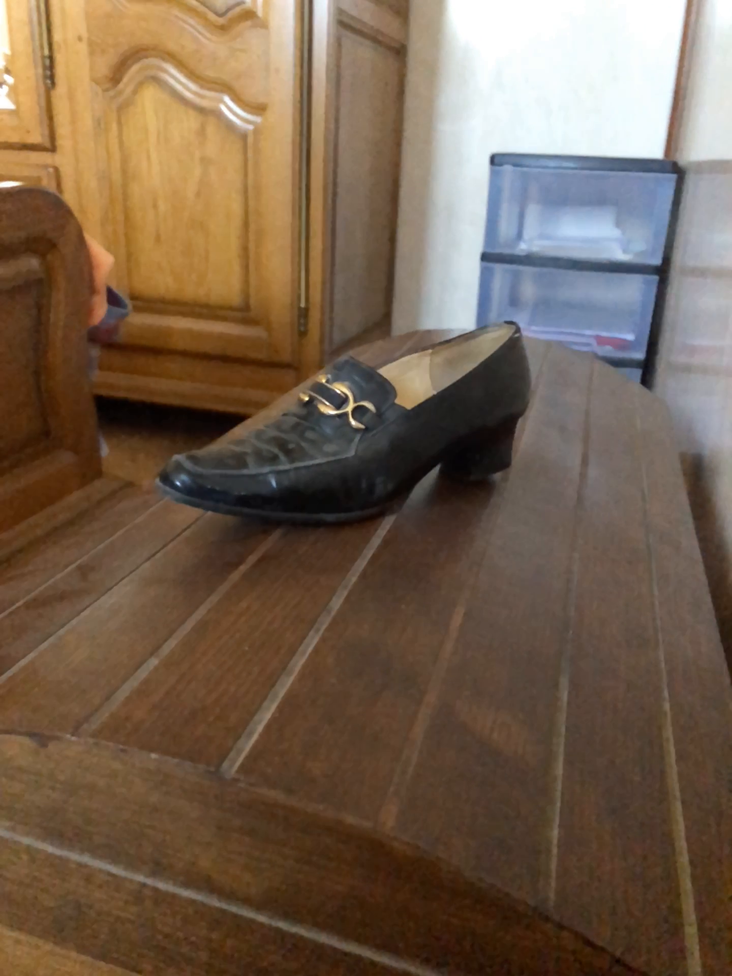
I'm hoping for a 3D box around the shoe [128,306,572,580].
[{"bbox_3d":[-0.001,-0.040,0.467,0.241,0.100,0.090,-14,26,-34],"label":"shoe"}]
